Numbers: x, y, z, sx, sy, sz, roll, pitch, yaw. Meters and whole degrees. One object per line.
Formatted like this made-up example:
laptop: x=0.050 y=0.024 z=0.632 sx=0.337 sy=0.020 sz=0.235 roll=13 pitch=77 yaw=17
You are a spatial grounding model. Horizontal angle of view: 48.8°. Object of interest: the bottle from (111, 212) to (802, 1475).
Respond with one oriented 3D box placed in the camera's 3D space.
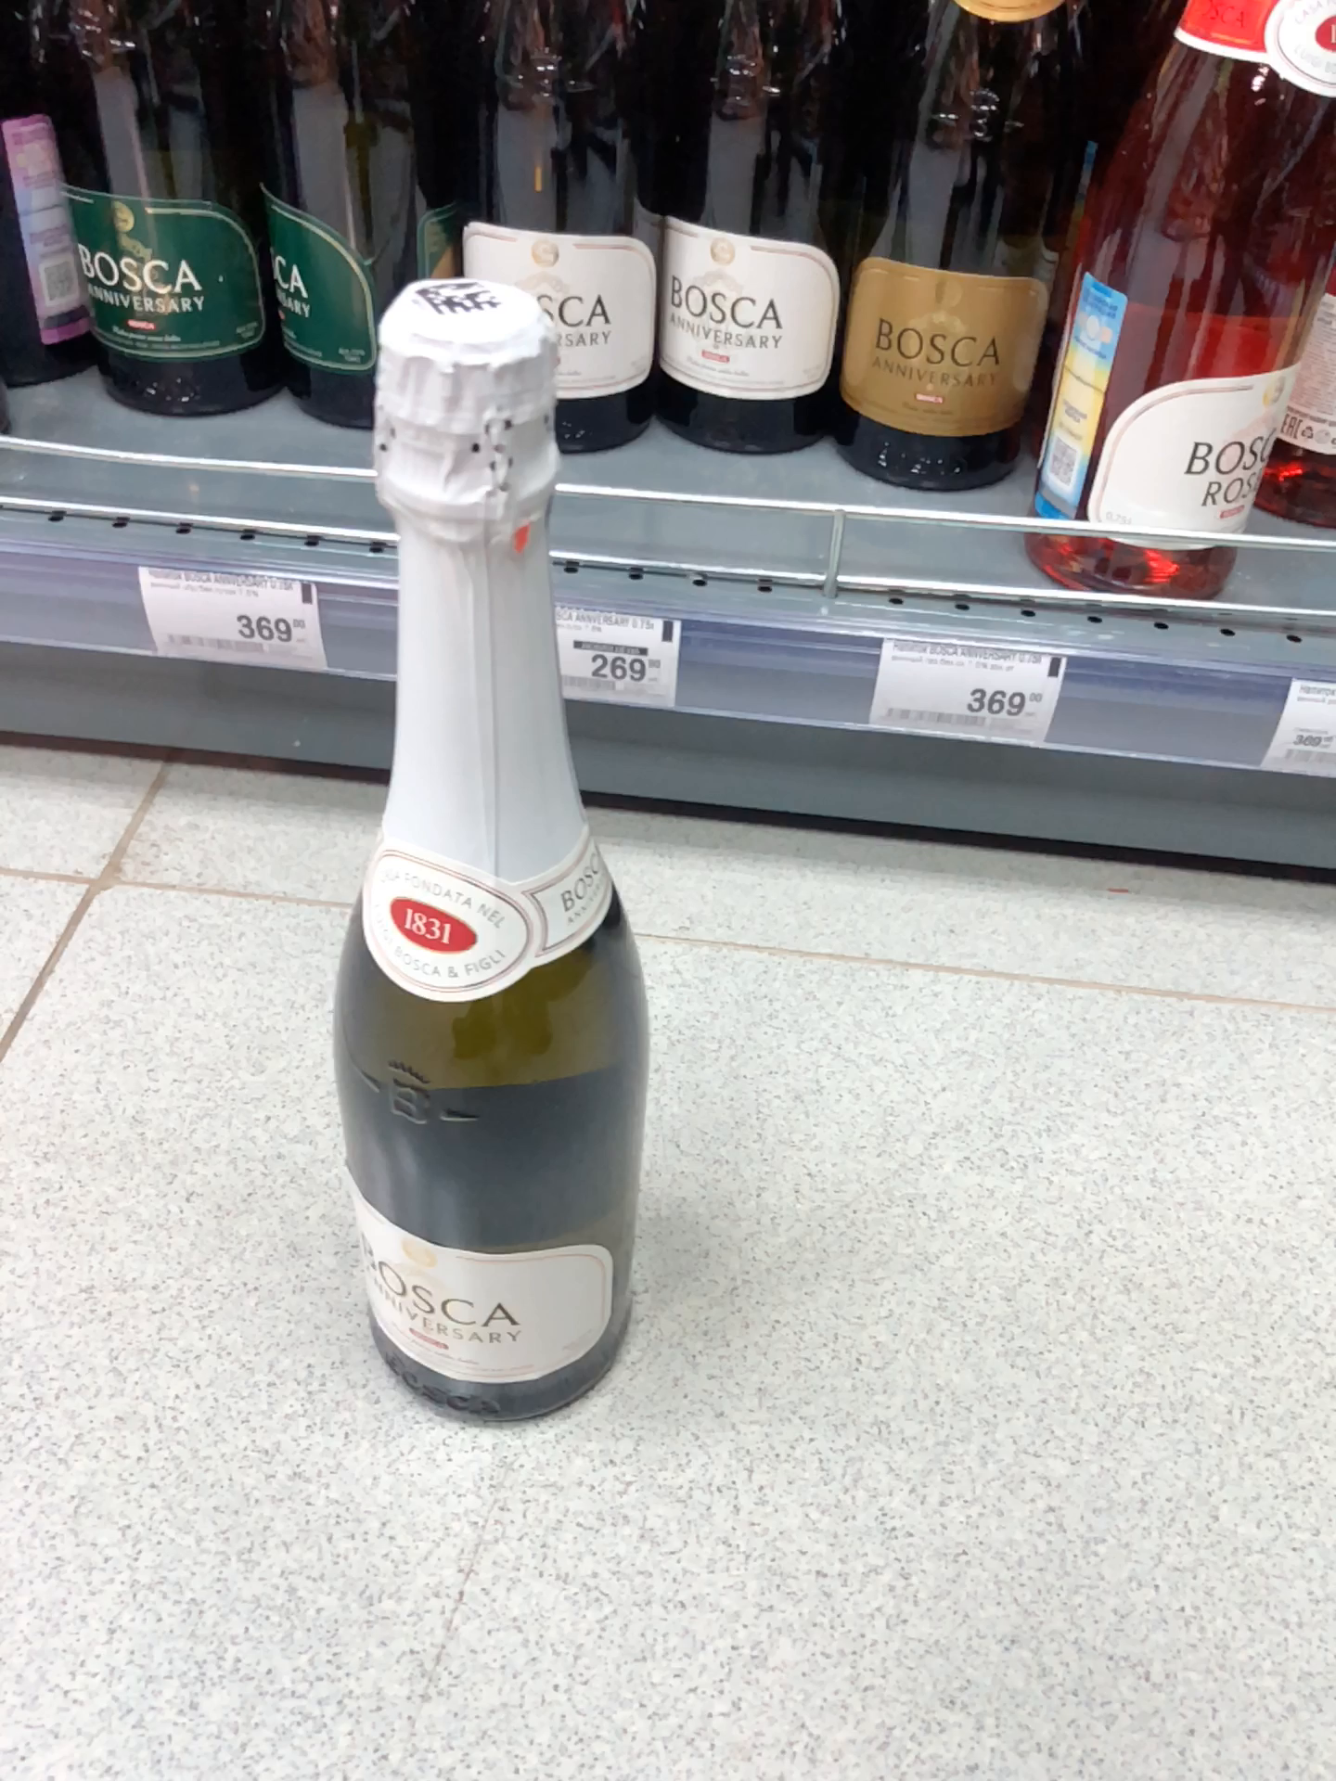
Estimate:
bottle: x=-0.043 y=0.013 z=0.368 sx=0.090 sy=0.308 sz=0.090 roll=2 pitch=41 yaw=-2
